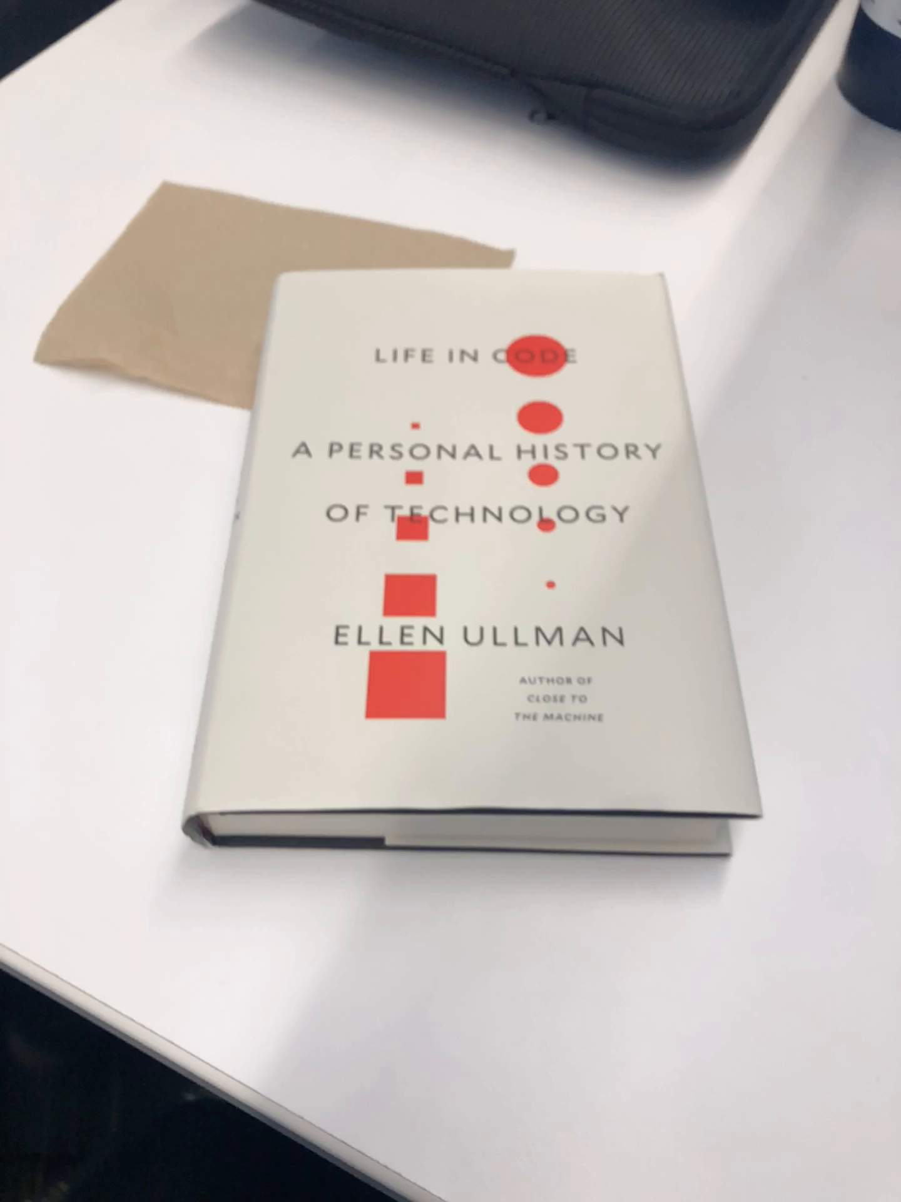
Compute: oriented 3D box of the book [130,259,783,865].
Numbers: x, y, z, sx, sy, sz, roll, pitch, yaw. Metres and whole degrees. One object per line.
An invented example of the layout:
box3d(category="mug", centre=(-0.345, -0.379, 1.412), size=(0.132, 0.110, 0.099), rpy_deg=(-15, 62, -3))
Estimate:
box3d(category="book", centre=(0.003, -0.029, 0.326), size=(0.160, 0.030, 0.221), rpy_deg=(1, 54, 1))
